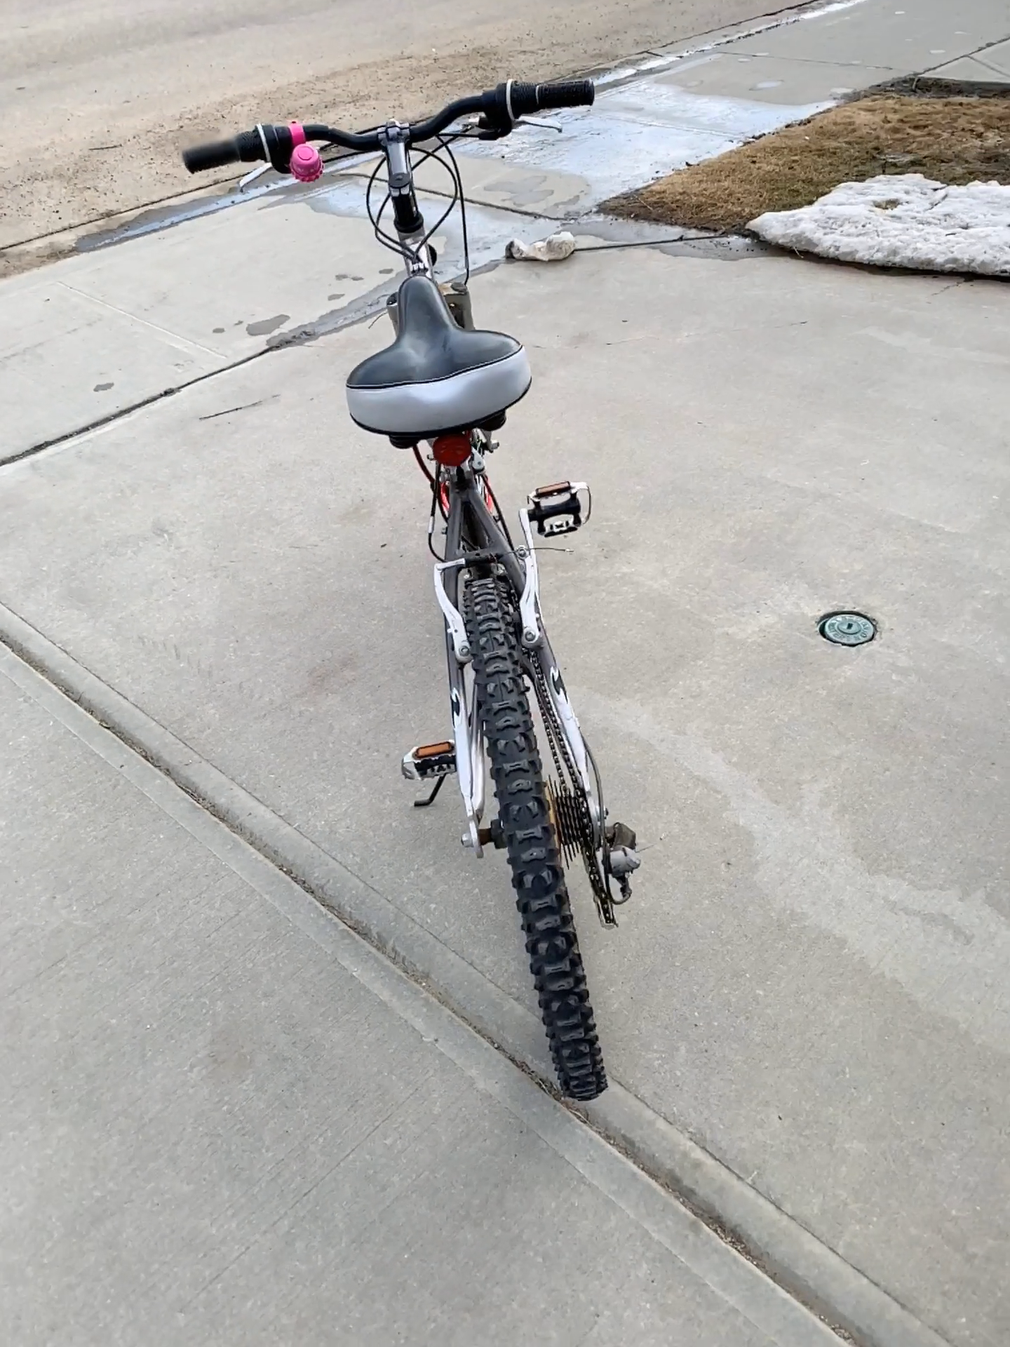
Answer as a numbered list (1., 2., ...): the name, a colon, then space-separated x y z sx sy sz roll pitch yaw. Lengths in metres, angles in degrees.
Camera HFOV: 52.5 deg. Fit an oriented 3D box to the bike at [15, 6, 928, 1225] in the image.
1. bike: -0.078 -0.253 1.416 0.538 0.825 1.509 -7 43 -3
